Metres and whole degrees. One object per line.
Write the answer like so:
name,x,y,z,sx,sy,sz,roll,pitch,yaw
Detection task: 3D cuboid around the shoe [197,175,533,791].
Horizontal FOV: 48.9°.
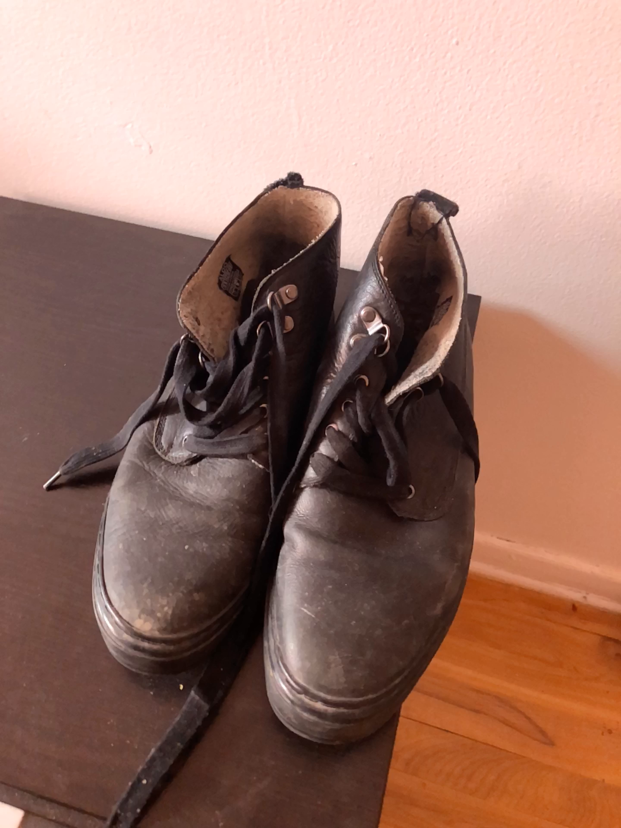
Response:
shoe,0.050,0.015,0.410,0.120,0.109,0.342,11,55,7

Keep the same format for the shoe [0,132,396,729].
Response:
shoe,-0.051,-0.016,0.414,0.120,0.109,0.342,15,56,9
